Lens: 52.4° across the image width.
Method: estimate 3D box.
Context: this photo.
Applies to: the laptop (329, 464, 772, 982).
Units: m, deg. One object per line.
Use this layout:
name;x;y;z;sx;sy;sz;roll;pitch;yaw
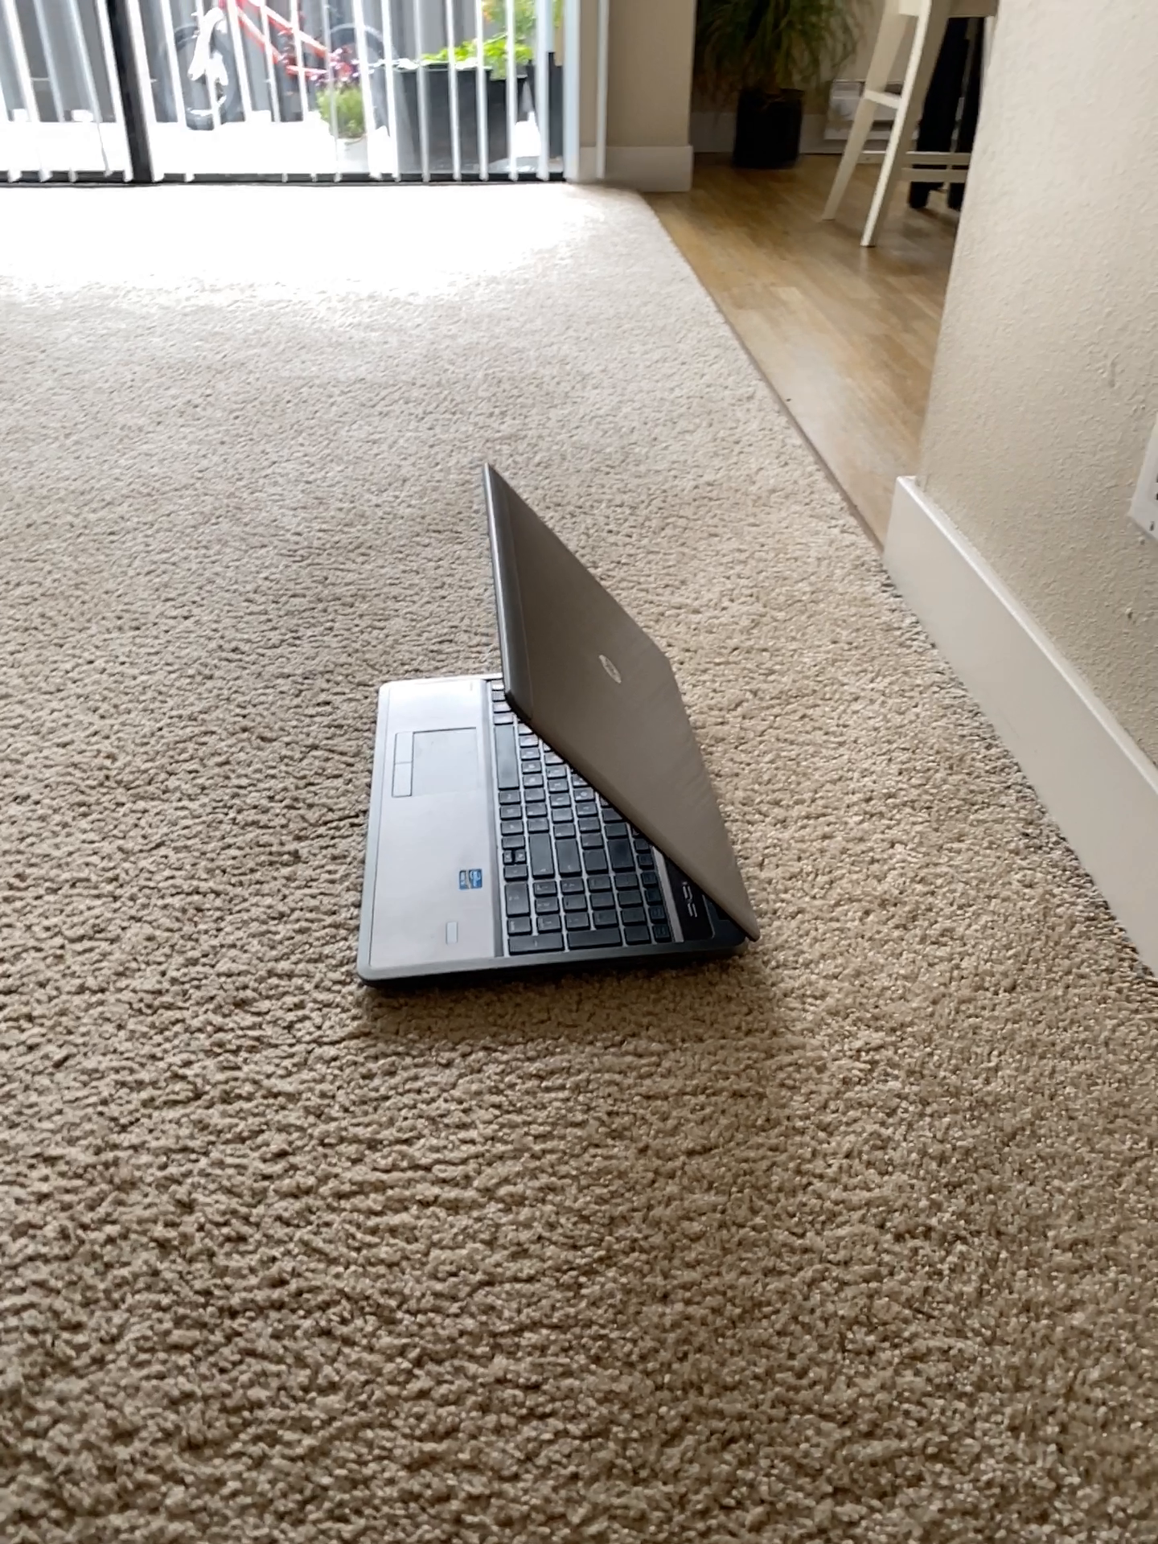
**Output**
laptop;-0.036;-0.060;0.862;0.248;0.189;0.372;-4;35;-5
